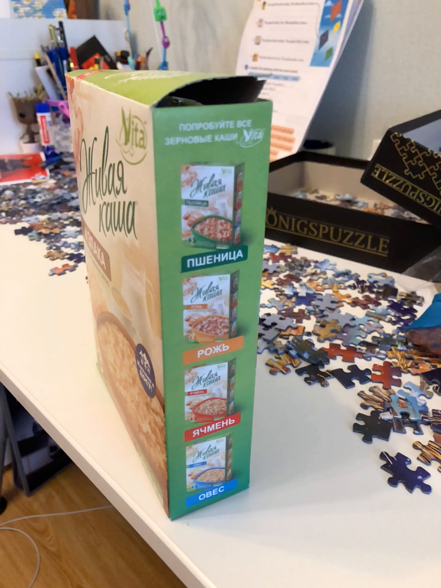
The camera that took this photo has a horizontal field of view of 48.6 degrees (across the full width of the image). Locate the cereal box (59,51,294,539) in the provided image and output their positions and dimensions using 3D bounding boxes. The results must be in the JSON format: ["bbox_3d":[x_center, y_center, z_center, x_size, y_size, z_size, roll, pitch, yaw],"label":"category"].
[{"bbox_3d":[-0.031,-0.008,0.256,0.050,0.209,0.141,-12,31,-24],"label":"cereal box"}]
